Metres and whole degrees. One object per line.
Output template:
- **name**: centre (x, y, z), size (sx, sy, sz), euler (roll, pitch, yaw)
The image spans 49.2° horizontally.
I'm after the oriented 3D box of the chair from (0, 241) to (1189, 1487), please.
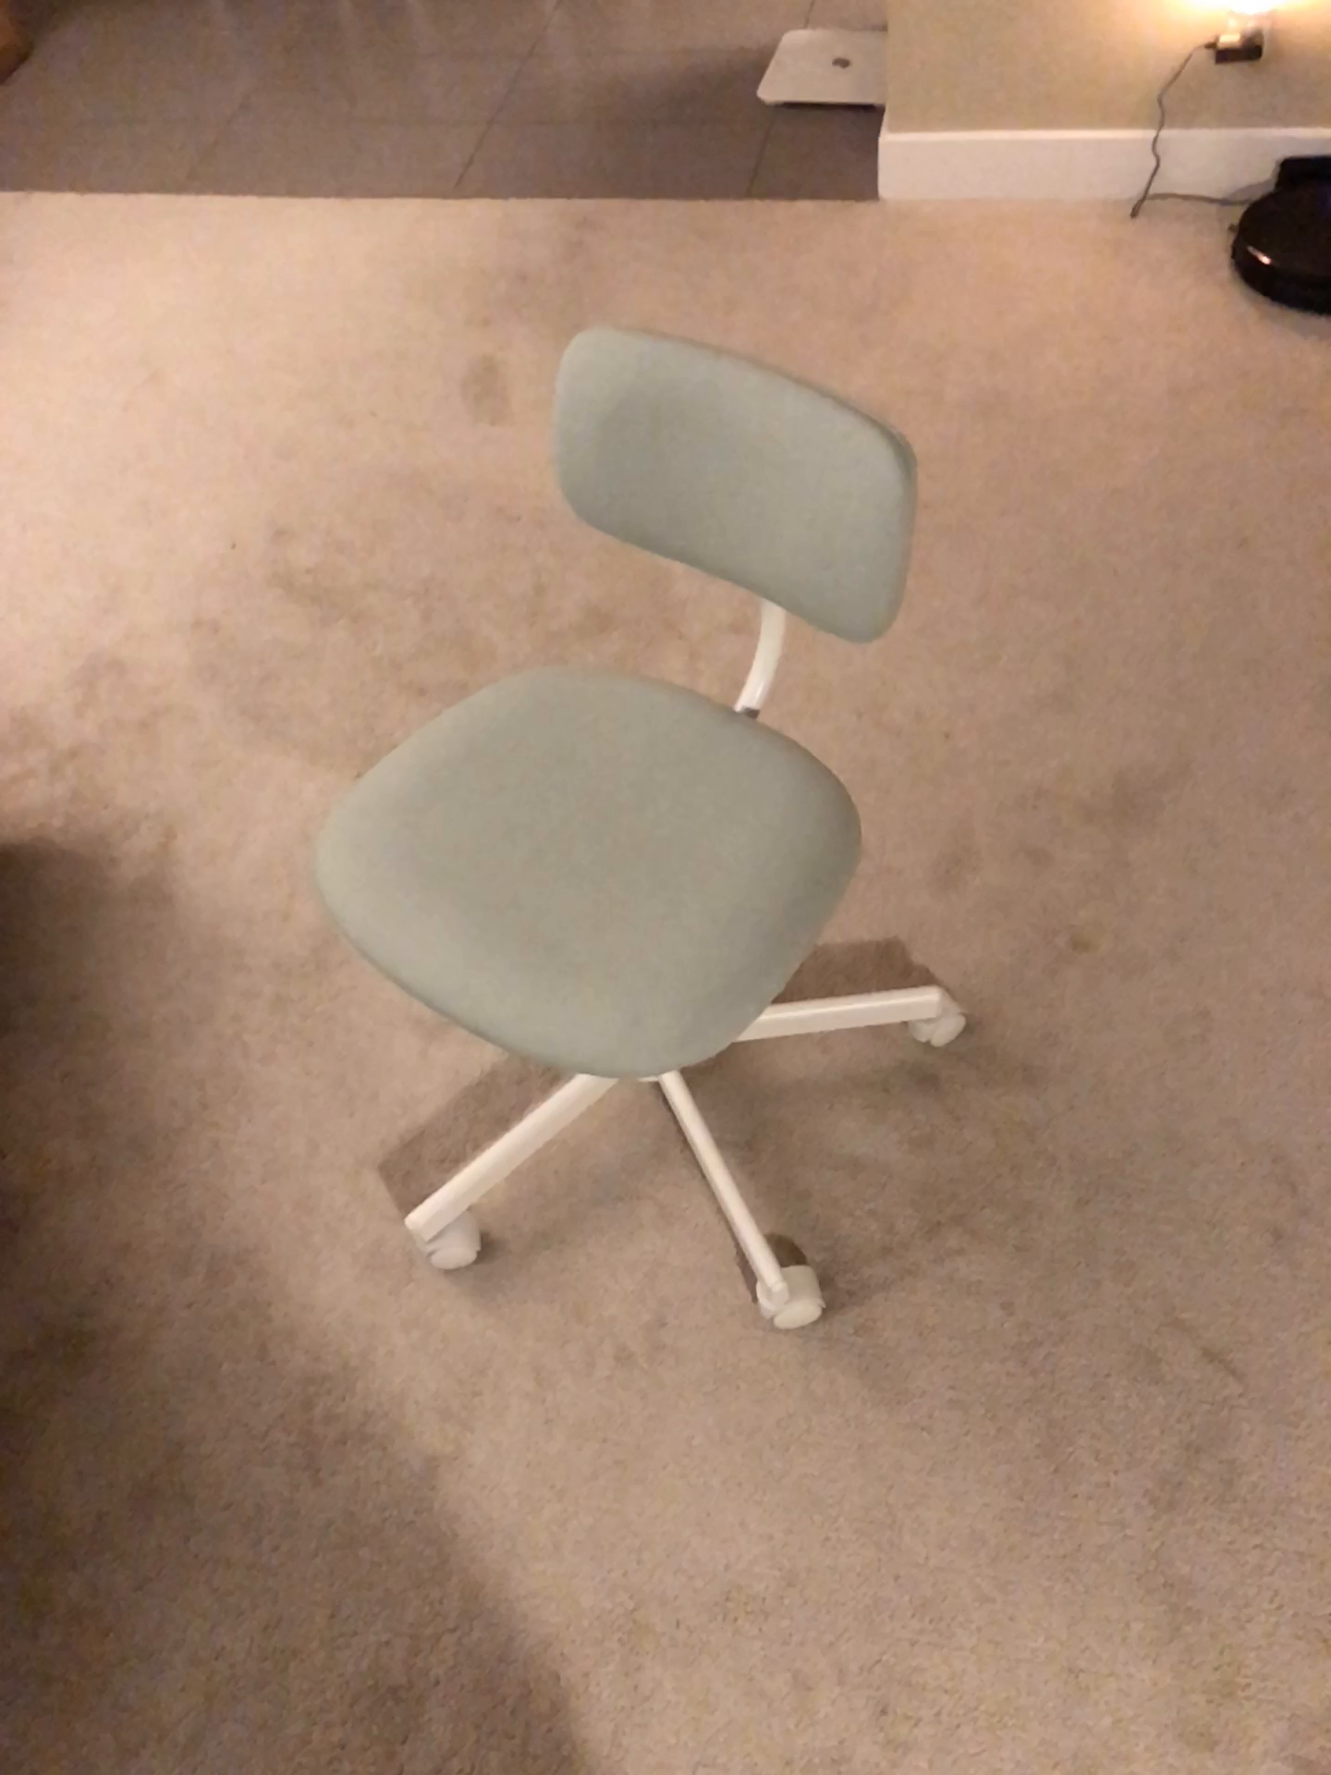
- **chair**: centre (-0.048, -0.031, 1.324), size (0.661, 0.677, 0.642), euler (32, 62, 28)
